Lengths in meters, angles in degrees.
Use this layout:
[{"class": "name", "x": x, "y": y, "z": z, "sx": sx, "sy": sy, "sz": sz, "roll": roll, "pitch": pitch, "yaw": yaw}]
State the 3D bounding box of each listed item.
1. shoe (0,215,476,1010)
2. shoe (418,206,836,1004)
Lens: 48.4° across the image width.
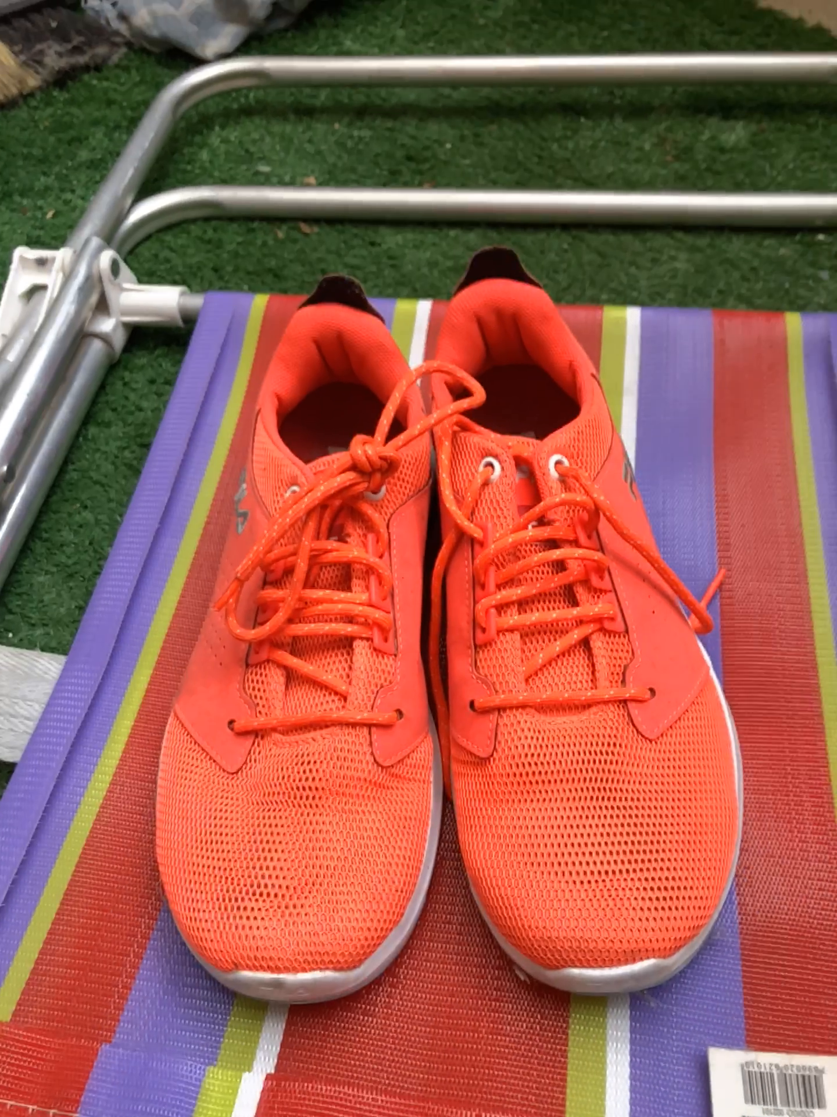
[{"class": "shoe", "x": -0.035, "y": 0.005, "z": 0.293, "sx": 0.100, "sy": 0.100, "sz": 0.231, "roll": 1, "pitch": 54, "yaw": 1}, {"class": "shoe", "x": 0.060, "y": 0.001, "z": 0.314, "sx": 0.100, "sy": 0.090, "sz": 0.251, "roll": -6, "pitch": 54, "yaw": 4}]
